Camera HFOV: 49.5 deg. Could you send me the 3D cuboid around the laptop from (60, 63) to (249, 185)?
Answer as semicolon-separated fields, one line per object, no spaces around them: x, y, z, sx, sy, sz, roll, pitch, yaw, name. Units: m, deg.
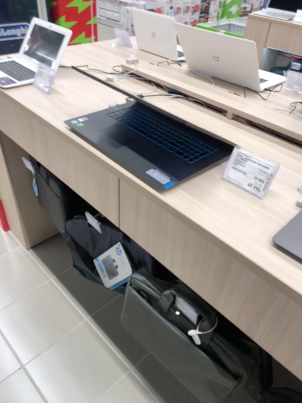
-0.008;-0.229;0.850;0.271;0.129;0.390;-27;46;-33;laptop
